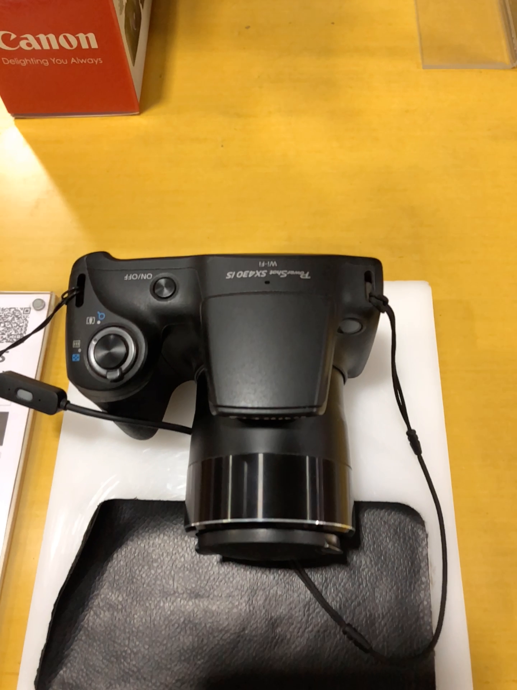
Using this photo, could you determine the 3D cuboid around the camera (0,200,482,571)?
[{"bbox_3d":[-0.006,0.020,0.182,0.110,0.090,0.090,0,65,2],"label":"camera"}]
